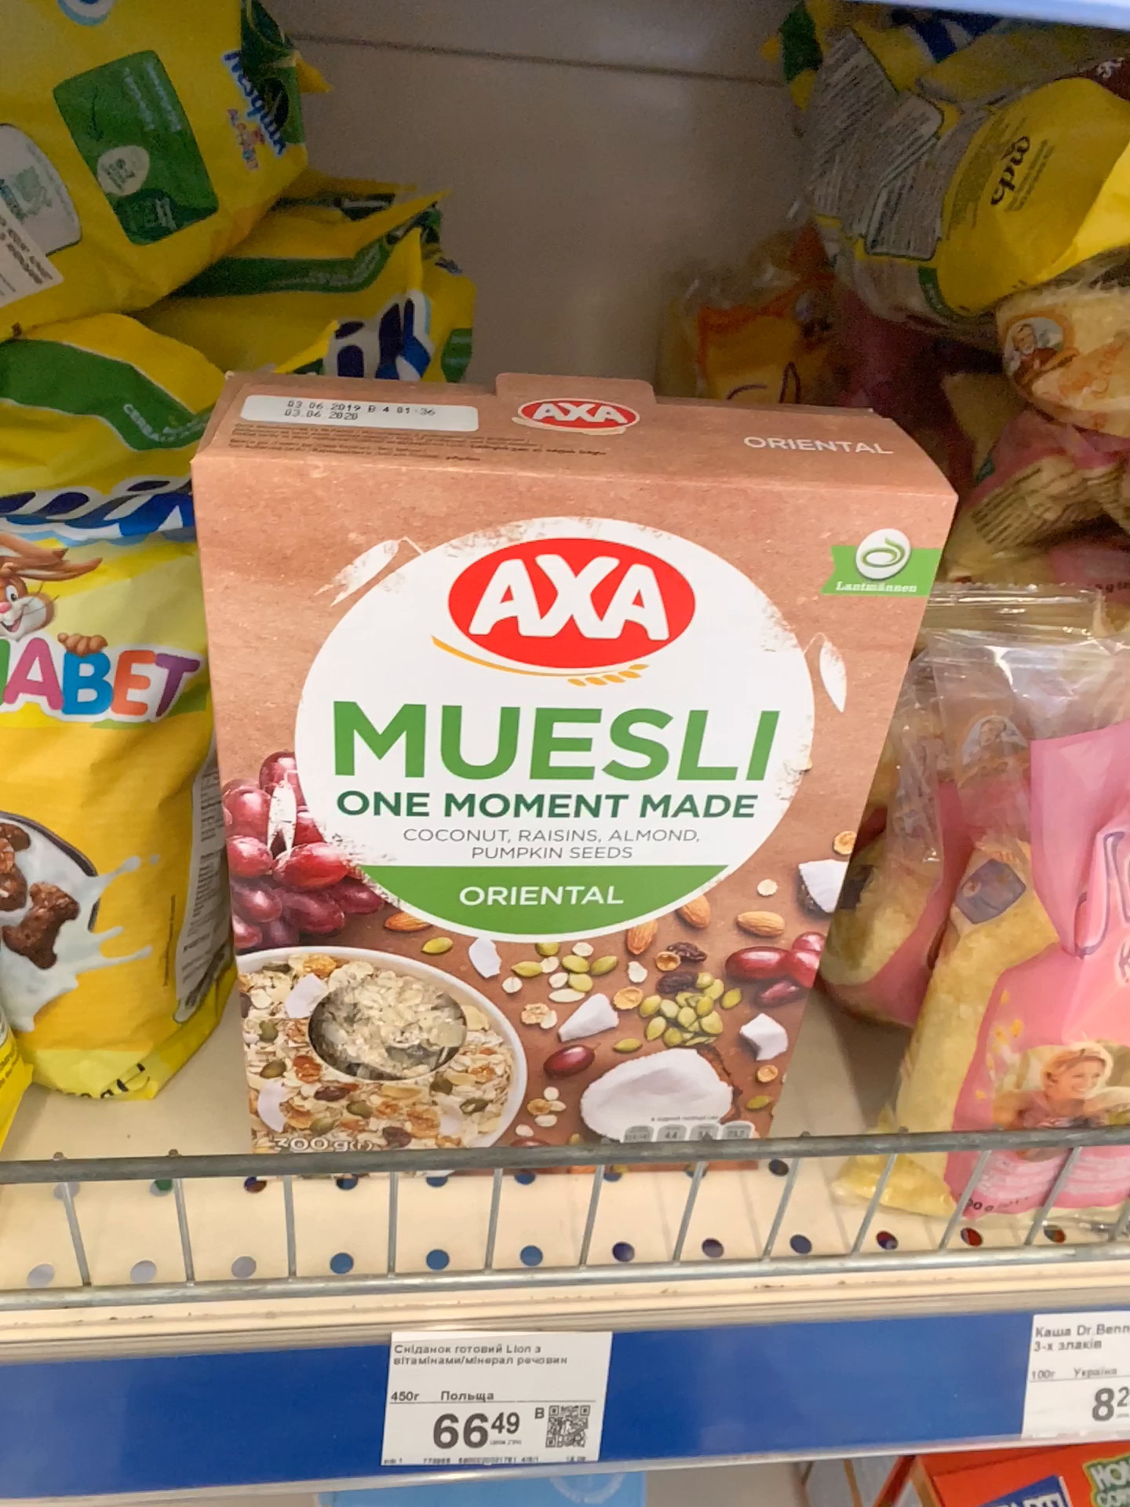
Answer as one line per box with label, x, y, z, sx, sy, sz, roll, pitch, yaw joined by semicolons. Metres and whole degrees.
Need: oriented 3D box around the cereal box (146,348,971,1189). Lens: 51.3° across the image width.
cereal box;-0.010;0.021;0.296;0.150;0.218;0.050;2;36;-6
